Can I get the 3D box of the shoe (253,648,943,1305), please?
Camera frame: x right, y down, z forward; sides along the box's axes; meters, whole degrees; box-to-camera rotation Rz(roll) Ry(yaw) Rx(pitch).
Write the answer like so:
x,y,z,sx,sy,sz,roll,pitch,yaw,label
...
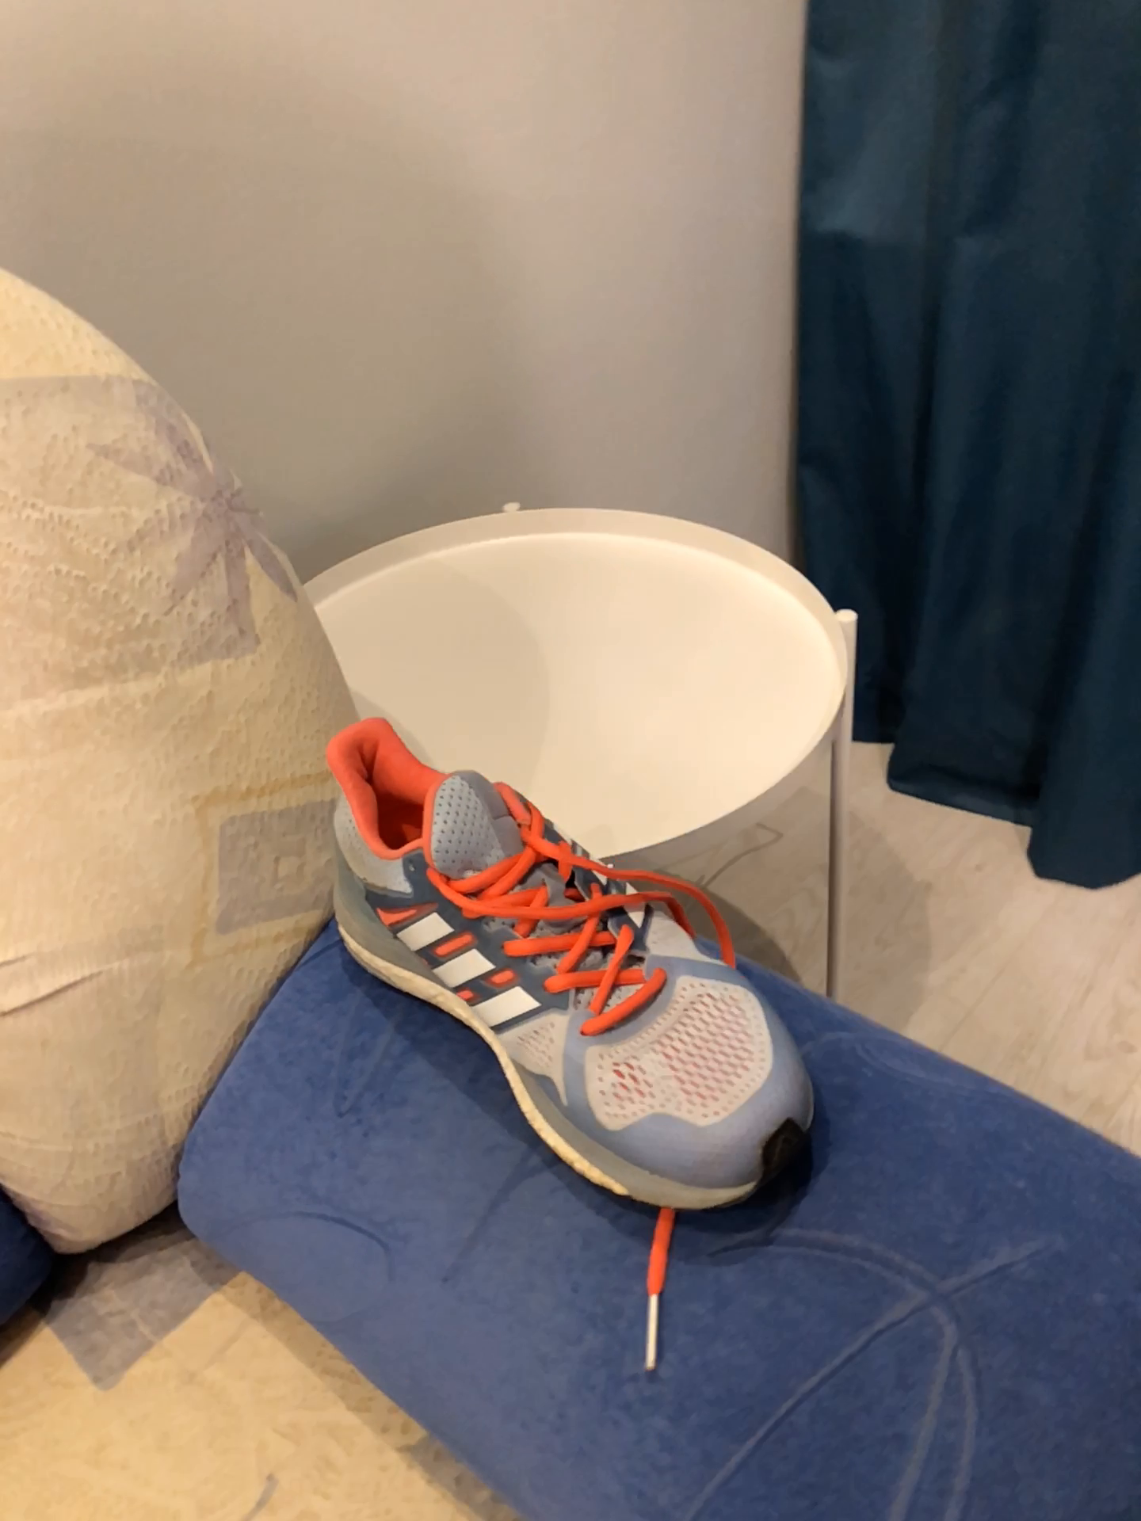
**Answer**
x,y,z,sx,sy,sz,roll,pitch,yaw,label
0.000,0.069,0.516,0.108,0.109,0.271,-33,45,-31,shoe
